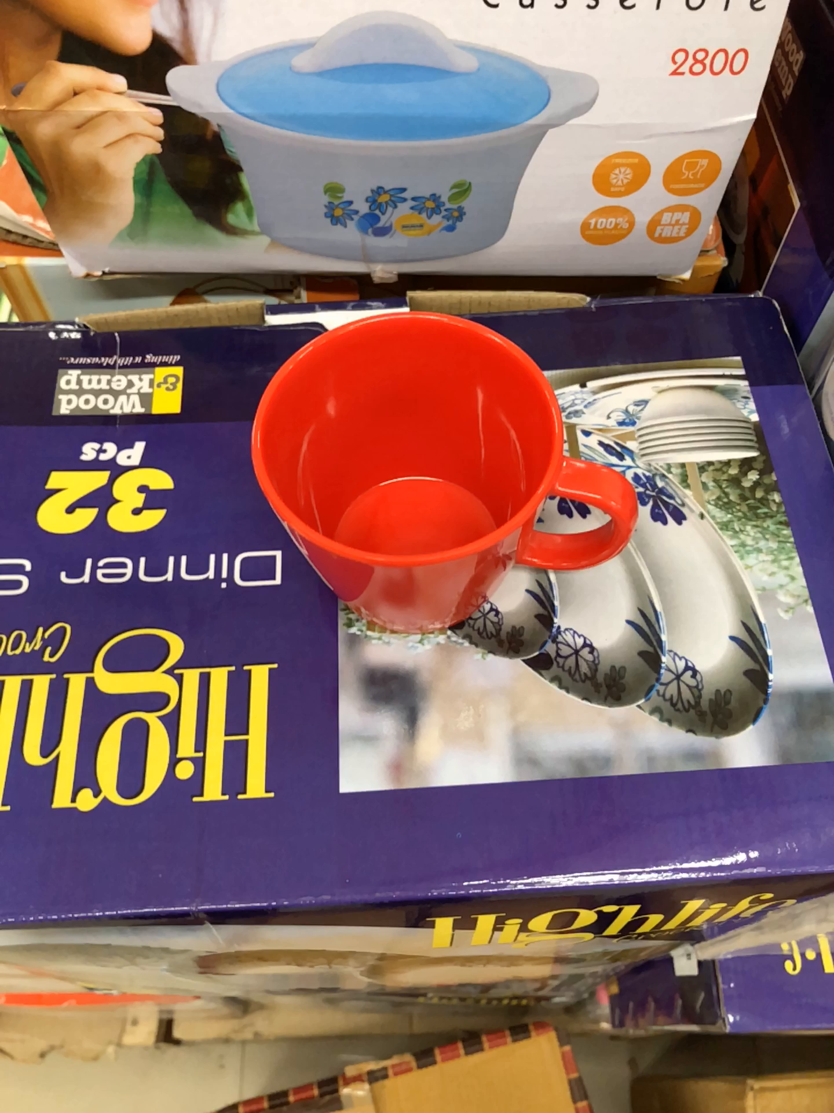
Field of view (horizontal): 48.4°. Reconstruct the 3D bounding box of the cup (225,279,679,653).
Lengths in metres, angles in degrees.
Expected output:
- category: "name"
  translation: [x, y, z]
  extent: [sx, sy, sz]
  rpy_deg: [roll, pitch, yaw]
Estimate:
- category: "cup"
  translation: [0.005, -0.024, 0.246]
  extent: [0.100, 0.050, 0.080]
  rpy_deg: [-3, 60, -3]
